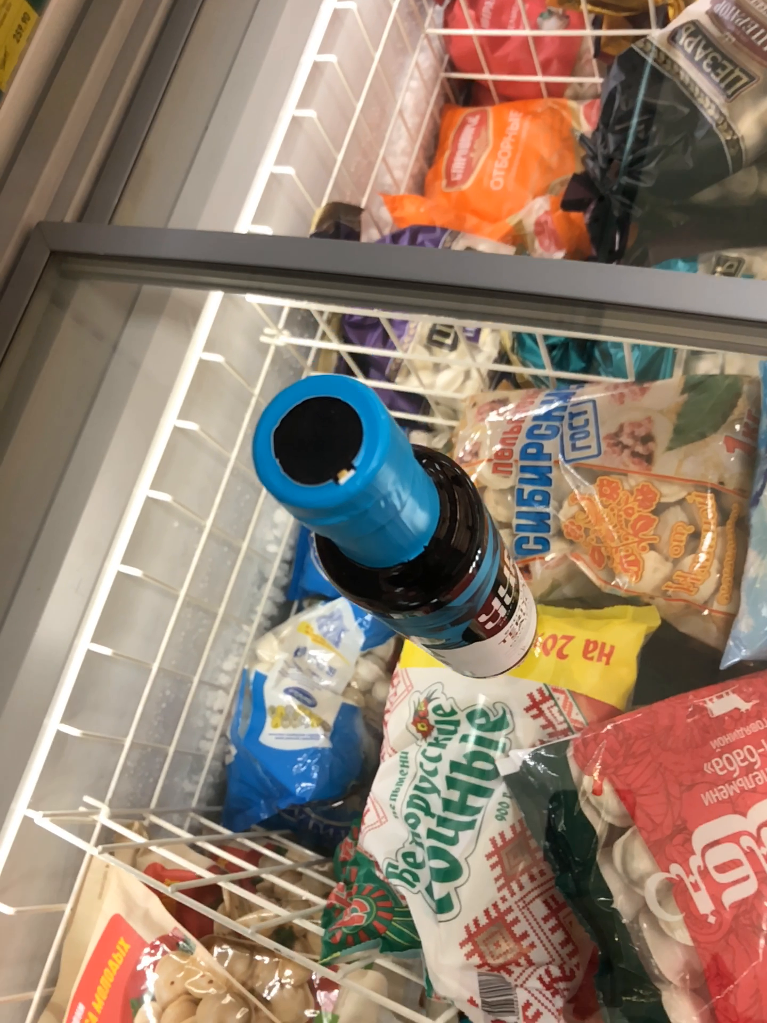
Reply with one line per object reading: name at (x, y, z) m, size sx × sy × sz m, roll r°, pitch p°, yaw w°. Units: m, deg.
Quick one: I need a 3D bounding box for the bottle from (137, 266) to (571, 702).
bottle at (0.015, 0.011, 0.276) m, size 0.060 × 0.219 × 0.060 m, roll -6°, pitch 69°, yaw 16°
